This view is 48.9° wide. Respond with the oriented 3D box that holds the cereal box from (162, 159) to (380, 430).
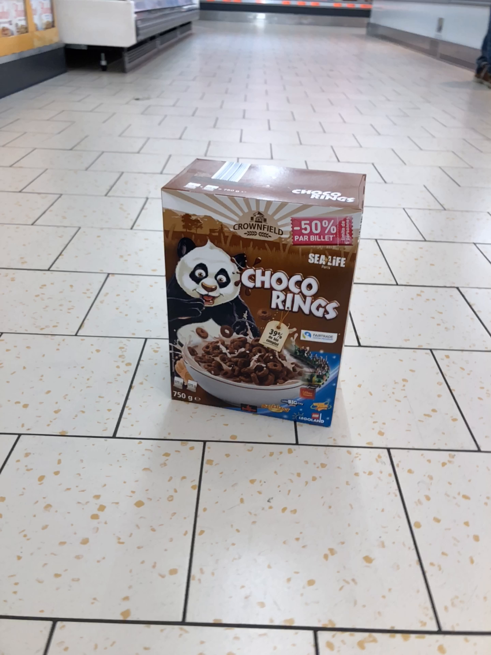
[{"bbox_3d":[0.029,-0.040,0.615,0.200,0.248,0.131,9,31,11],"label":"cereal box"}]
